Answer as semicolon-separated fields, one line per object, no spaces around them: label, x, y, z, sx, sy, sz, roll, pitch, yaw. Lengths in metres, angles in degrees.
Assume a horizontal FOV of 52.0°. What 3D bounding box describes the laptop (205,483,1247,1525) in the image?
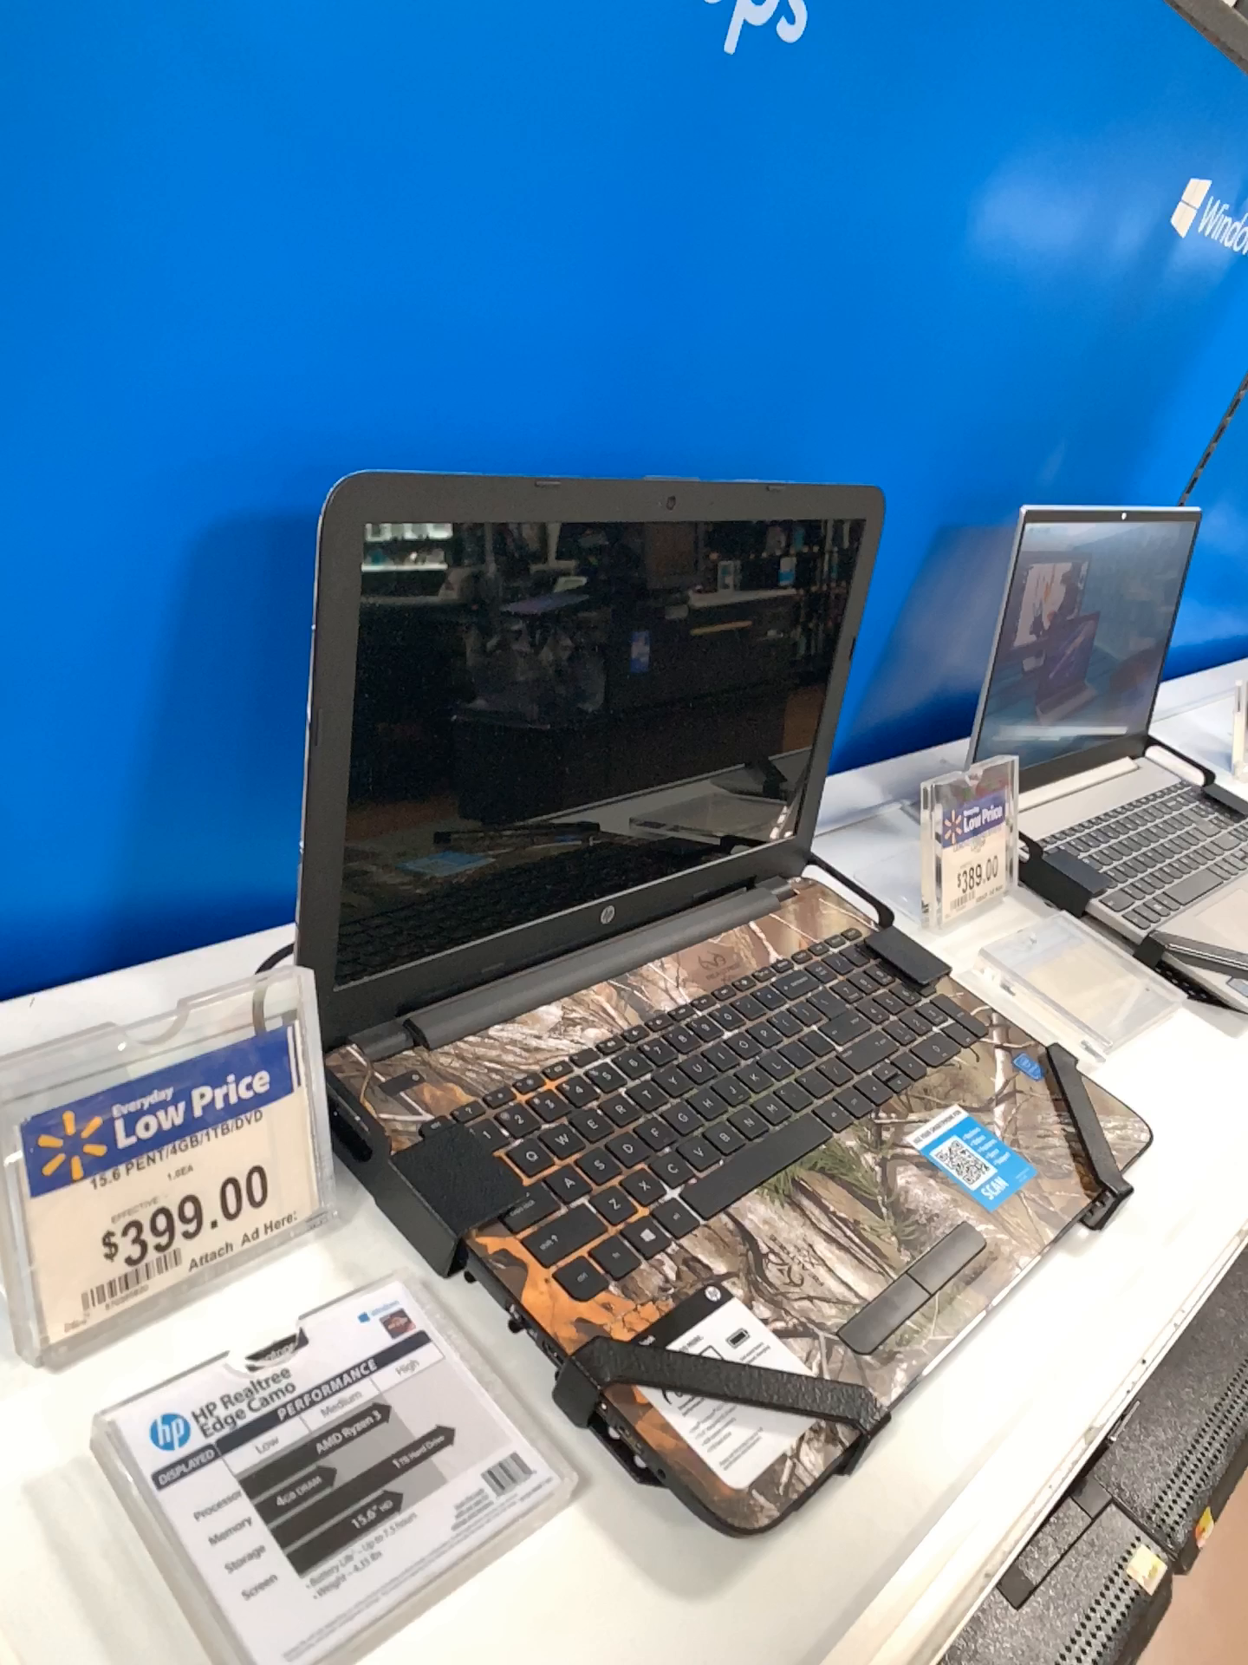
laptop;0.084;0.017;0.567;0.303;0.227;0.375;38;33;29
